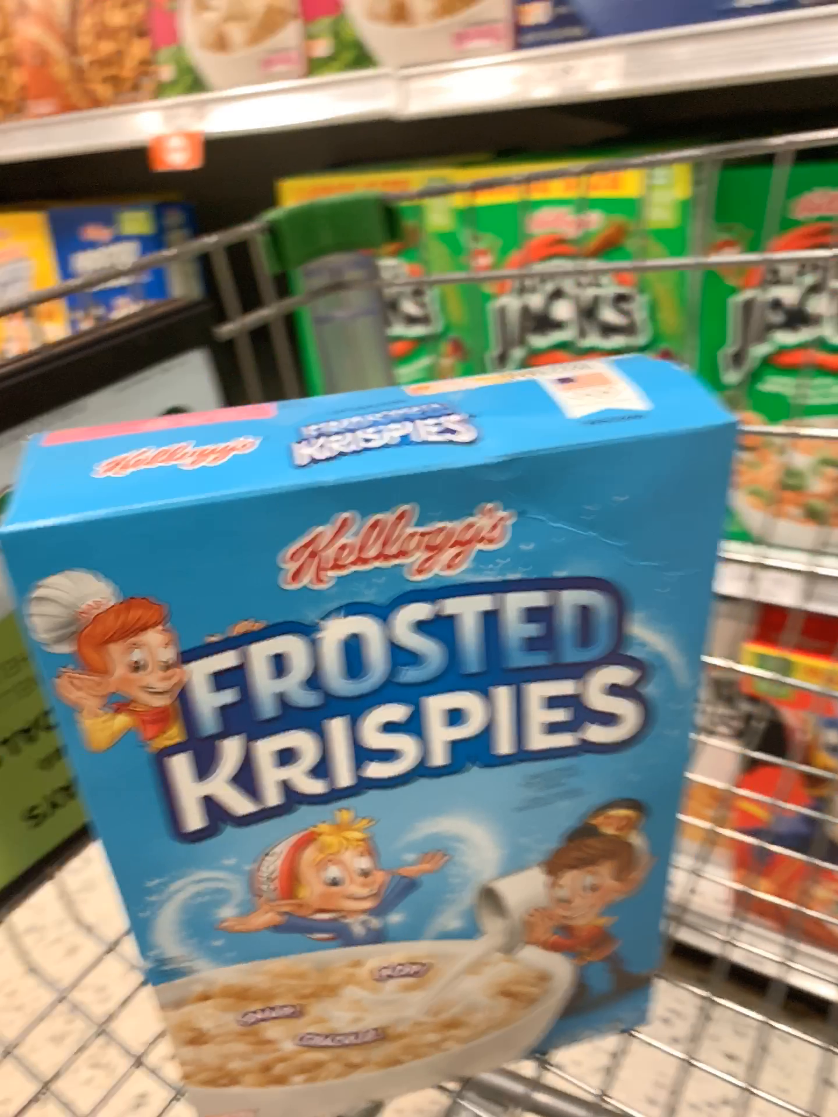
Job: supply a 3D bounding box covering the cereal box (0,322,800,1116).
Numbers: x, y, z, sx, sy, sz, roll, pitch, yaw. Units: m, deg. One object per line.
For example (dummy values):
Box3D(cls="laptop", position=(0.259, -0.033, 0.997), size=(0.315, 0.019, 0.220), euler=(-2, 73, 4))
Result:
Box3D(cls="cereal box", position=(0.002, 0.094, 0.314), size=(0.200, 0.317, 0.061), euler=(-10, 33, -7))
